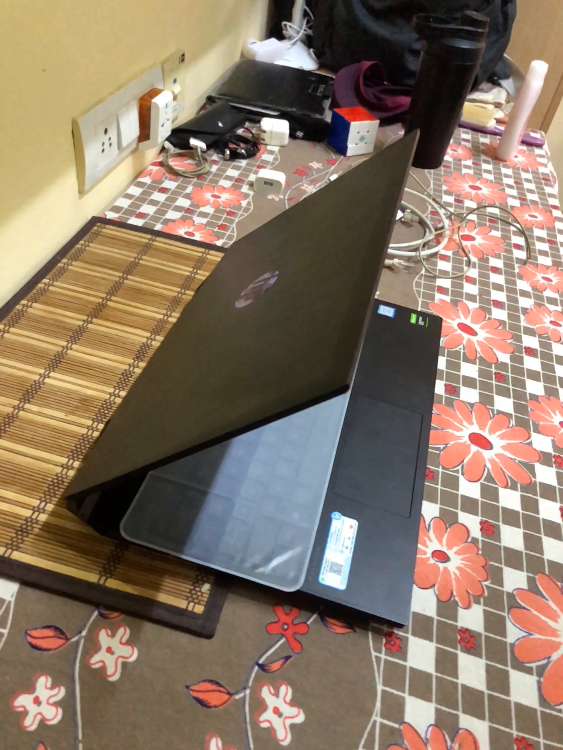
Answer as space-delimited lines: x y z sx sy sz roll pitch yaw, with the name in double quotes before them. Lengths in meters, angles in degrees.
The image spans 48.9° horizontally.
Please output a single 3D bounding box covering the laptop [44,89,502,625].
"laptop" 0.029 -0.047 0.493 0.236 0.164 0.358 19 44 4
